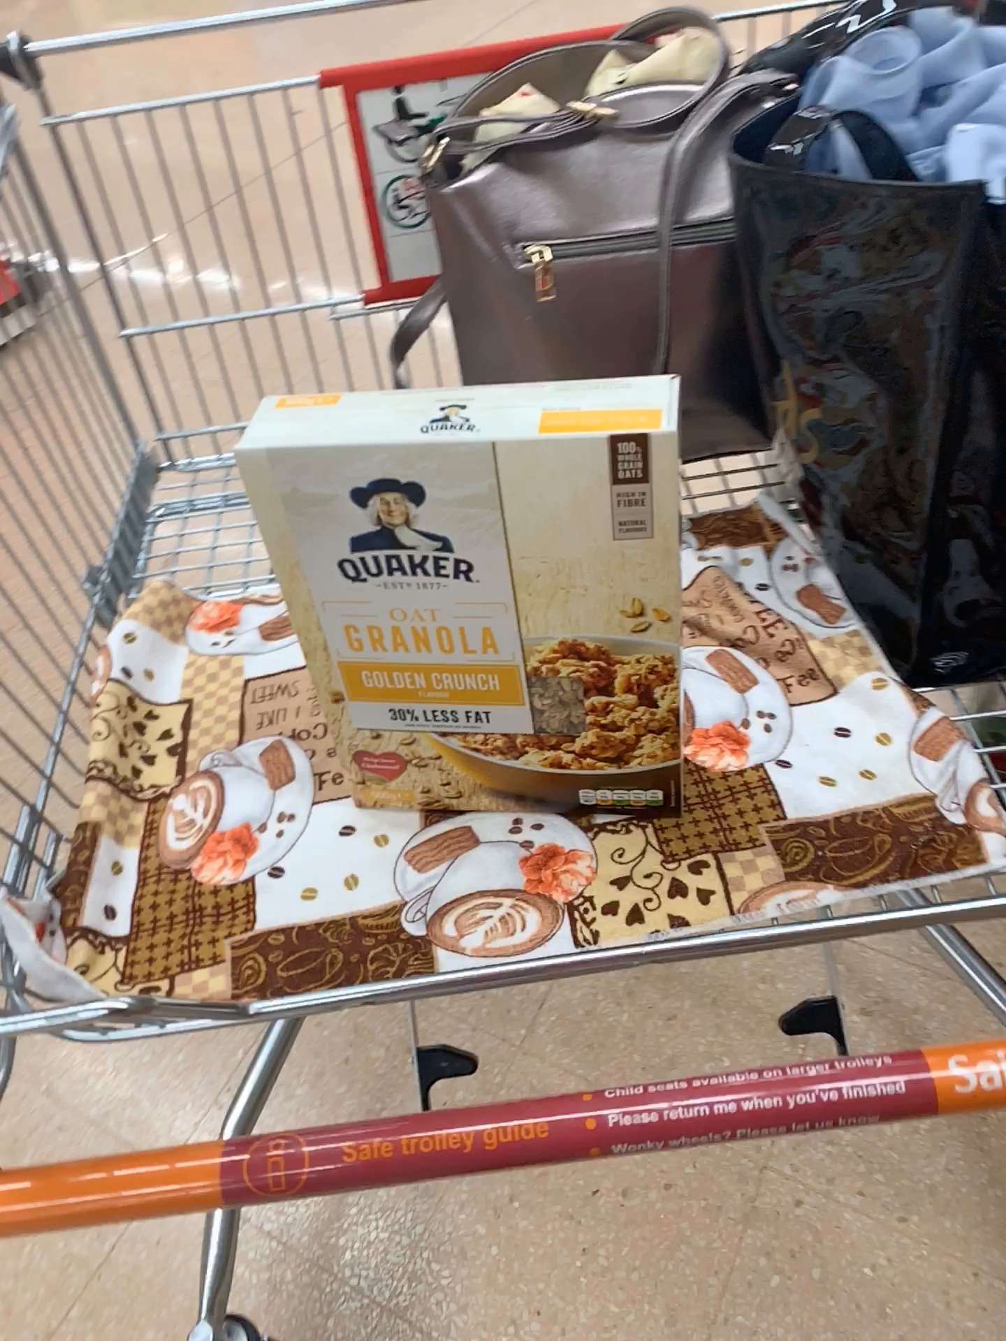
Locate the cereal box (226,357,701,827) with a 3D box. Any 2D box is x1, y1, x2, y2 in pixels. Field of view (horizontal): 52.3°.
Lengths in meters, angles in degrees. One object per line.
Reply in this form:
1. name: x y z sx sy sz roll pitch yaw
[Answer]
1. cereal box: -0.002 -0.023 0.528 0.200 0.258 0.050 -1 42 10
